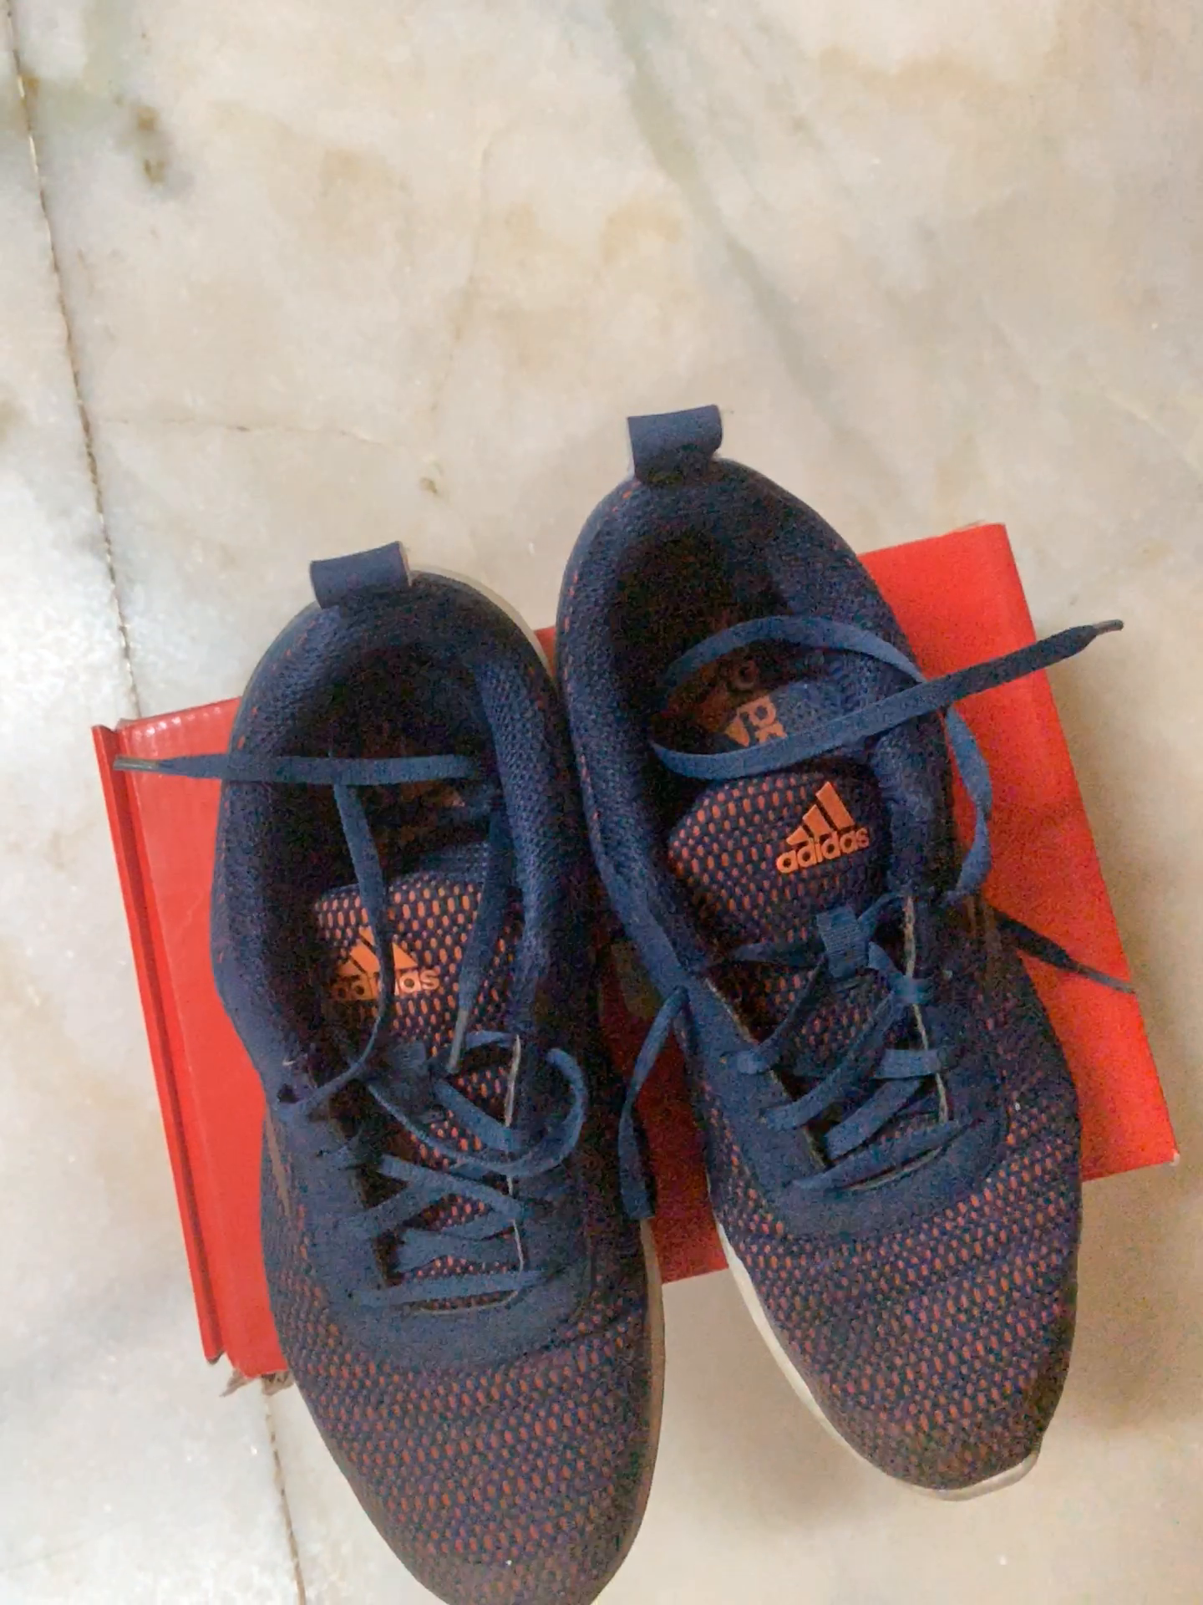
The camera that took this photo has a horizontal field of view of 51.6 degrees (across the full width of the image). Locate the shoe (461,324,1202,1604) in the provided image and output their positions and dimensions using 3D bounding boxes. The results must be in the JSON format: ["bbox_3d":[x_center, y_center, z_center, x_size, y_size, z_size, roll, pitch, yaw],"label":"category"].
[{"bbox_3d":[0.056,0.041,0.313,0.100,0.080,0.280,-16,85,-1],"label":"shoe"}]

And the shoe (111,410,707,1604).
[{"bbox_3d":[-0.048,0.063,0.344,0.100,0.100,0.300,-9,85,0],"label":"shoe"}]
